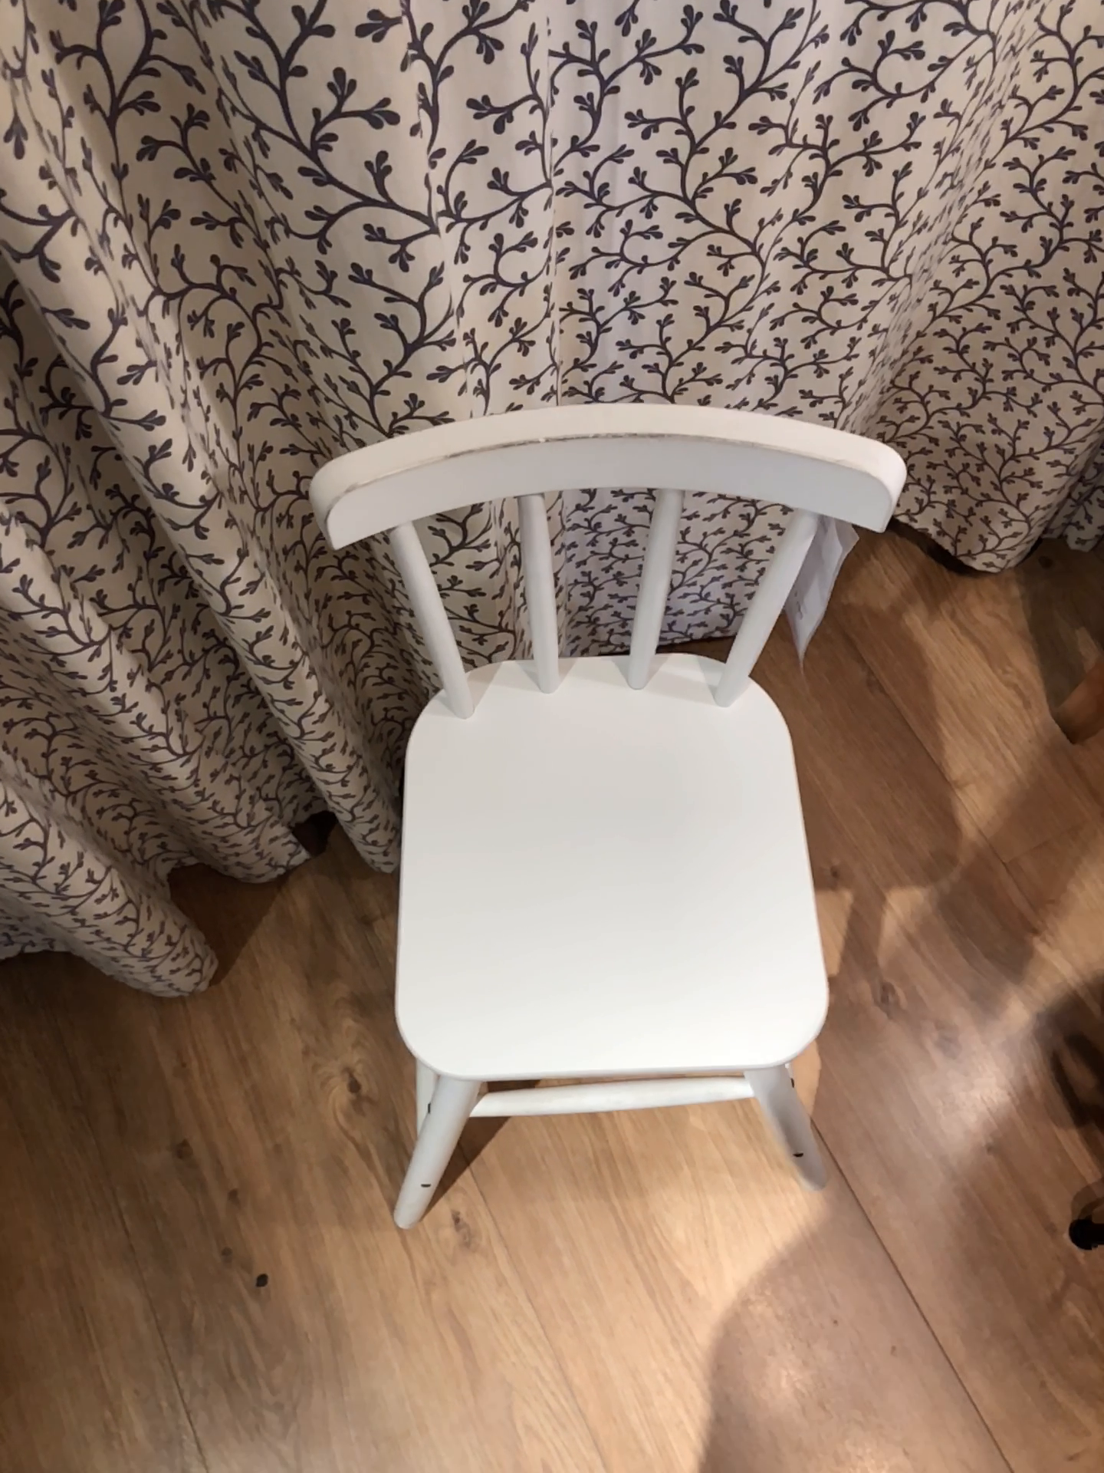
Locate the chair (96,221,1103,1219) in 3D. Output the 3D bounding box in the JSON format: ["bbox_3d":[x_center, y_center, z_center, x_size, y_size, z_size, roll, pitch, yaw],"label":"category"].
[{"bbox_3d":[0.017,0.084,0.894,0.420,0.708,0.451,-6,67,-1],"label":"chair"}]
